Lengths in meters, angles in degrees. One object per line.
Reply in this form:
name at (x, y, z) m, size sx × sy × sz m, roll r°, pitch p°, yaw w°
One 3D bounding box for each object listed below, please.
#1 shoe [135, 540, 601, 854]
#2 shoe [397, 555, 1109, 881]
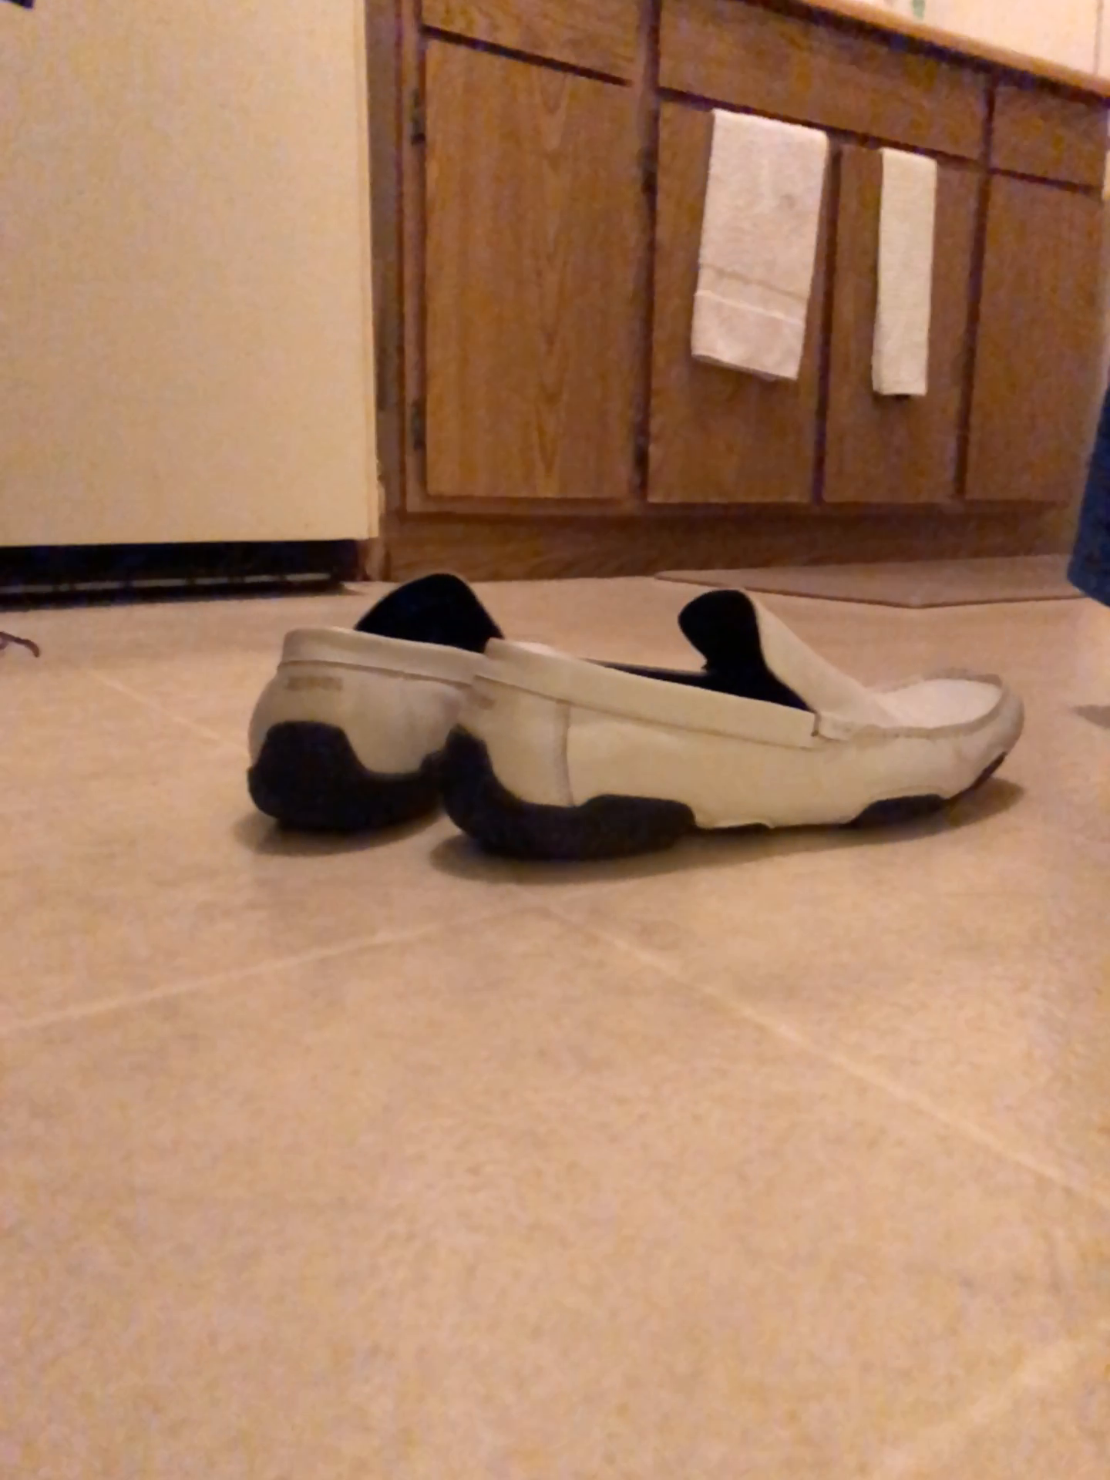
shoe at (-0.064, -0.040, 0.590) m, size 0.110 × 0.097 × 0.307 m, roll 3°, pitch 12°, yaw 14°
shoe at (0.090, -0.023, 0.512) m, size 0.289 × 0.097 × 0.111 m, roll -6°, pitch 13°, yaw -26°
